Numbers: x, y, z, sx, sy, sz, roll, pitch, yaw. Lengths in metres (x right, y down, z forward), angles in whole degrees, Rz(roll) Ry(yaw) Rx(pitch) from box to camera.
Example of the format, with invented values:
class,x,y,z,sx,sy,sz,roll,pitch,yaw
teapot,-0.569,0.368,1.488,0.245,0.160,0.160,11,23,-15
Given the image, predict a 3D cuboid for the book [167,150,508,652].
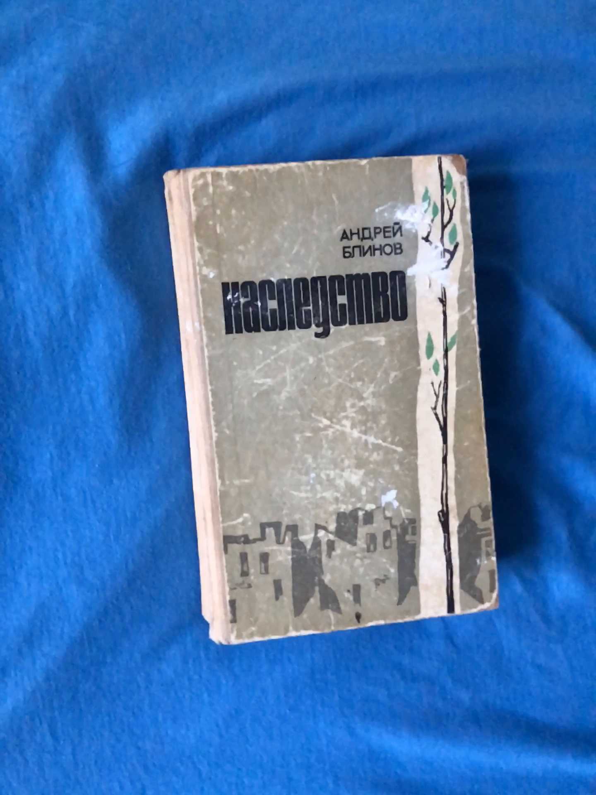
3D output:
class,x,y,z,sx,sy,sz,roll,pitch,yaw
book,0.017,-0.001,0.297,0.130,0.040,0.200,-5,91,-9
